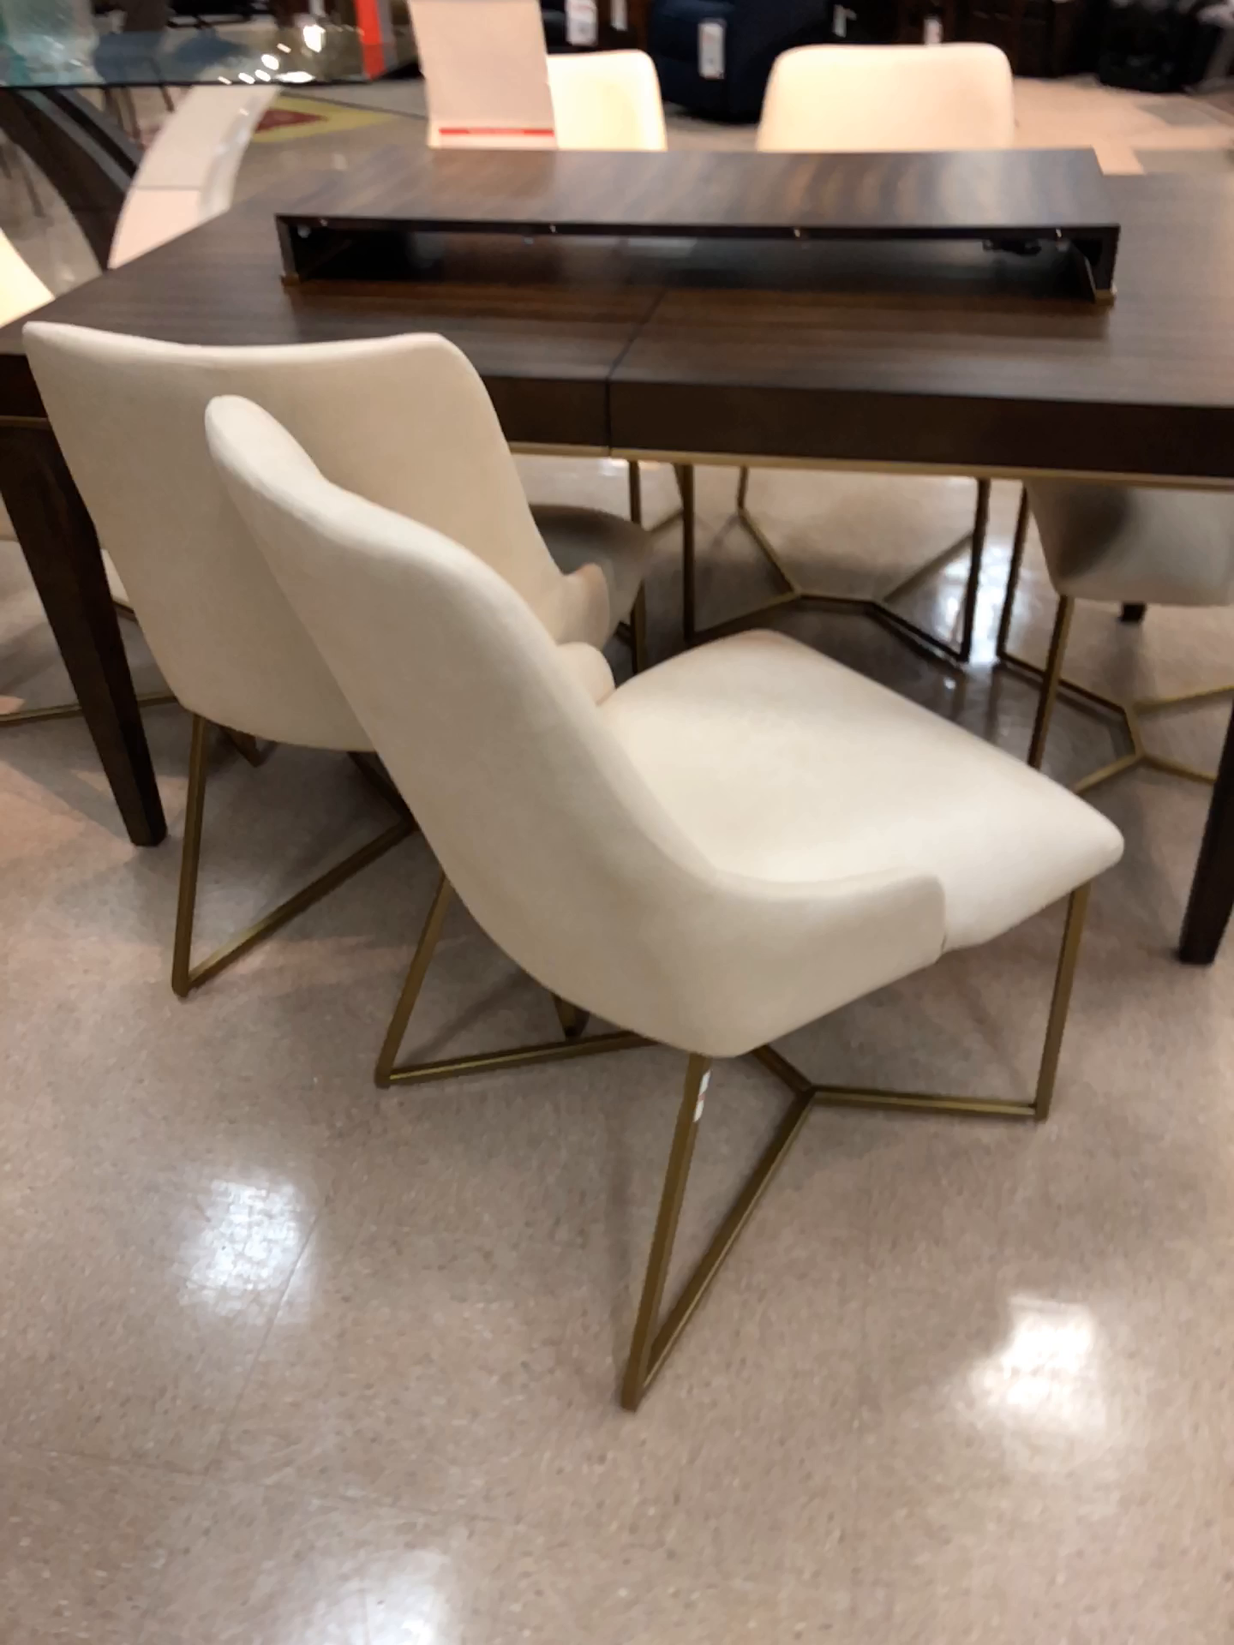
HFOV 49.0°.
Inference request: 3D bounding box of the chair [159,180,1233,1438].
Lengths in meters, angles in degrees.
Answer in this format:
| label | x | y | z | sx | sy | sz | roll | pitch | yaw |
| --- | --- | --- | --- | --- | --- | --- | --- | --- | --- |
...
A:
| label | x | y | z | sx | sy | sz | roll | pitch | yaw |
| --- | --- | --- | --- | --- | --- | --- | --- | --- | --- |
| chair | 0.066 | -0.042 | 1.309 | 0.641 | 0.904 | 0.543 | -23 | 41 | -26 |
